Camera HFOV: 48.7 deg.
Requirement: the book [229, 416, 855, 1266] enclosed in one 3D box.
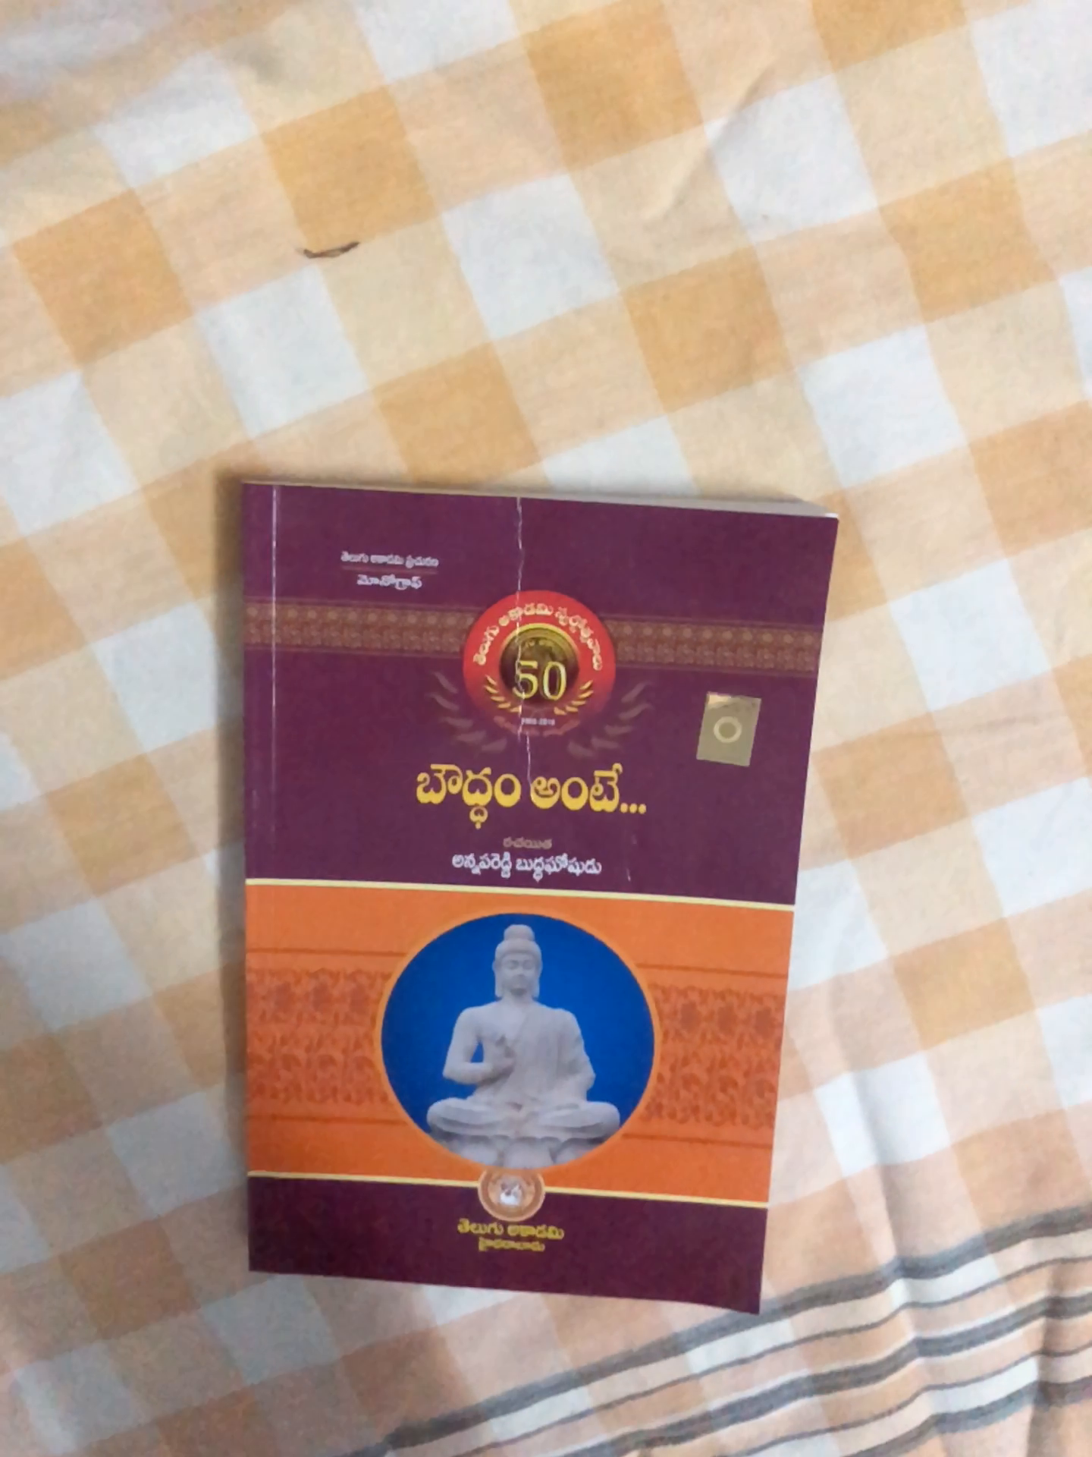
[{"bbox_3d":[-0.007,0.039,0.344,0.160,0.020,0.240,3,103,-2],"label":"book"}]
